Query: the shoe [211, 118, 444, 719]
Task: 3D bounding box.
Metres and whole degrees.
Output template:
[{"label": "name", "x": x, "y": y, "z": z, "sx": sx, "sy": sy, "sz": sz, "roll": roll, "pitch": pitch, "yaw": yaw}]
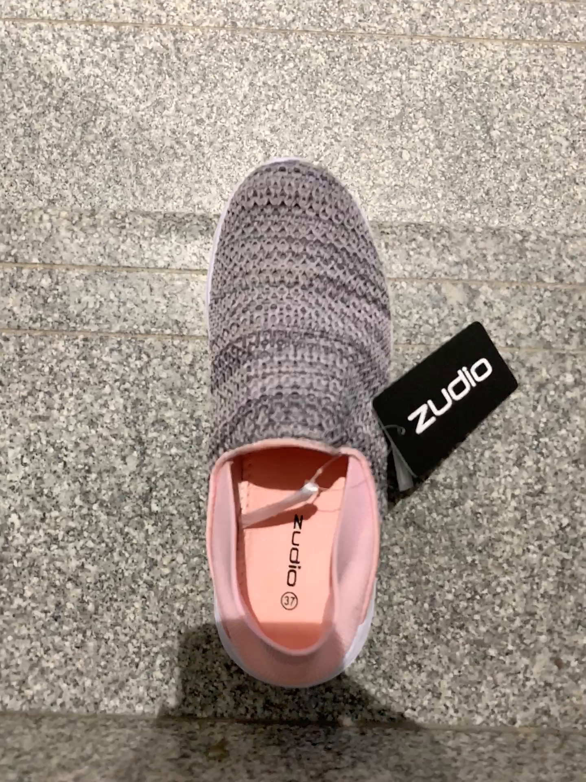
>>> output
[{"label": "shoe", "x": 0.015, "y": 0.011, "z": 0.292, "sx": 0.090, "sy": 0.080, "sz": 0.250, "roll": 2, "pitch": 88, "yaw": 0}]
